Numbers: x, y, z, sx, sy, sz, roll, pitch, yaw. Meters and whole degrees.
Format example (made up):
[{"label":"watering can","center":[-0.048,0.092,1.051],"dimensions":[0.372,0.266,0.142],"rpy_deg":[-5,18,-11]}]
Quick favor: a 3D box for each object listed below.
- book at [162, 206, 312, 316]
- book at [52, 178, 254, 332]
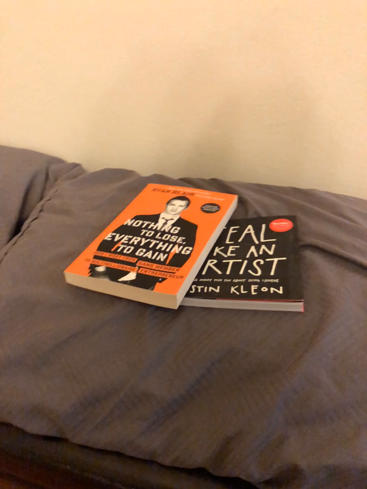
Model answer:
[{"label":"book","center":[0.065,0.010,0.483],"dimensions":[0.150,0.020,0.171],"rpy_deg":[3,38,8]},{"label":"book","center":[-0.023,-0.006,0.507],"dimensions":[0.170,0.020,0.231],"rpy_deg":[12,41,18]}]
